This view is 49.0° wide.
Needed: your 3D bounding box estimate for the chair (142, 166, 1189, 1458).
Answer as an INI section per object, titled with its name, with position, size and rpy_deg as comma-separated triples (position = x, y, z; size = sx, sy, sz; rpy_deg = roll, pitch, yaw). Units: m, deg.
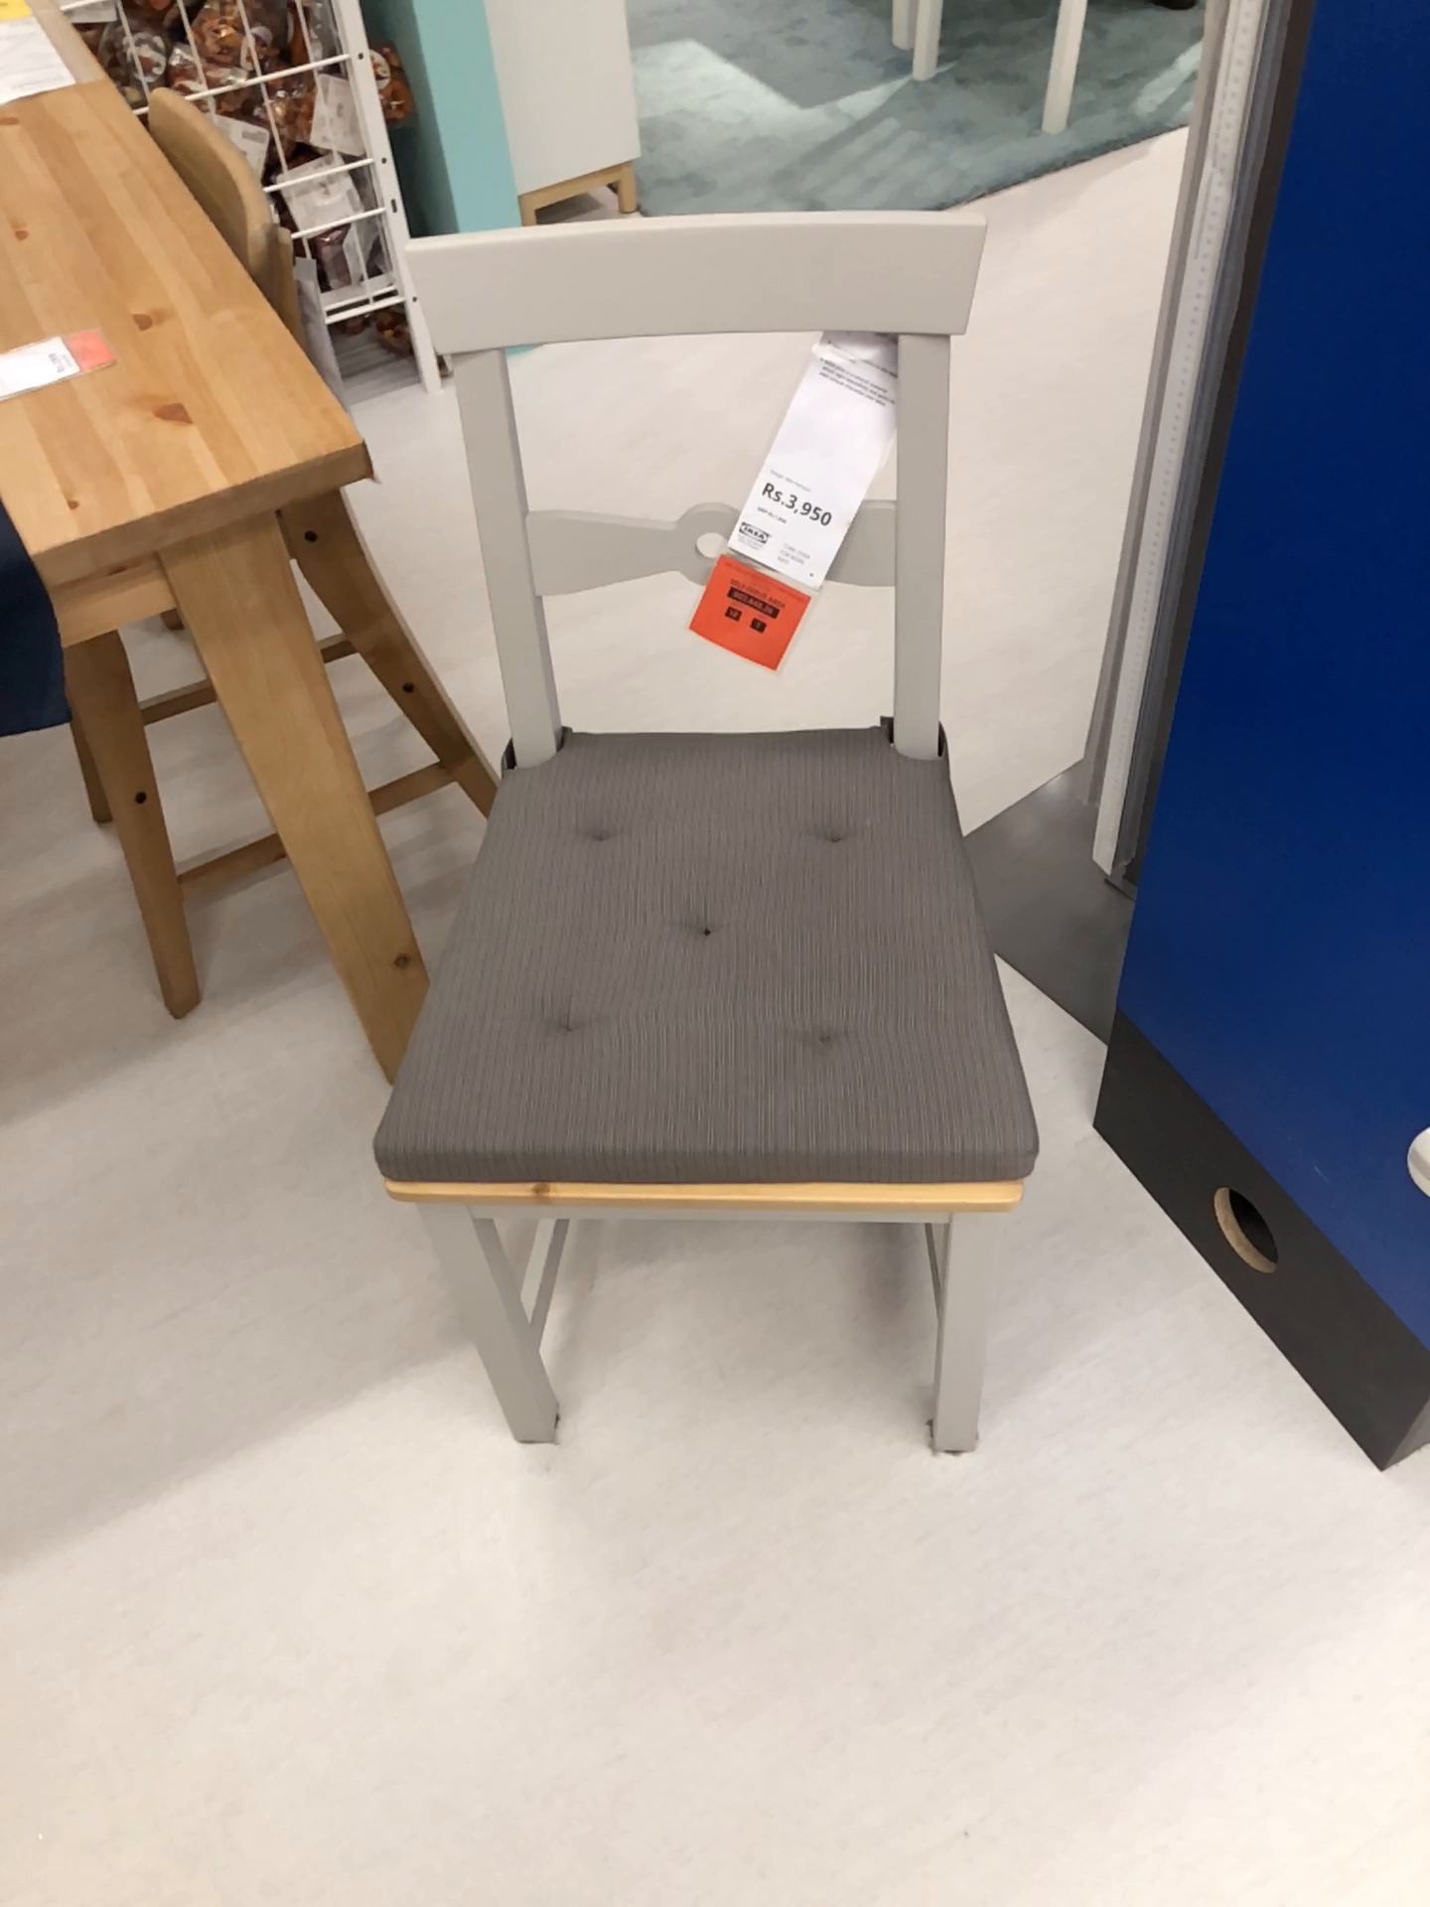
[chair]
position = 0.012, -0.035, 1.085
size = 0.430, 0.765, 0.473
rpy_deg = -1, 50, 5
